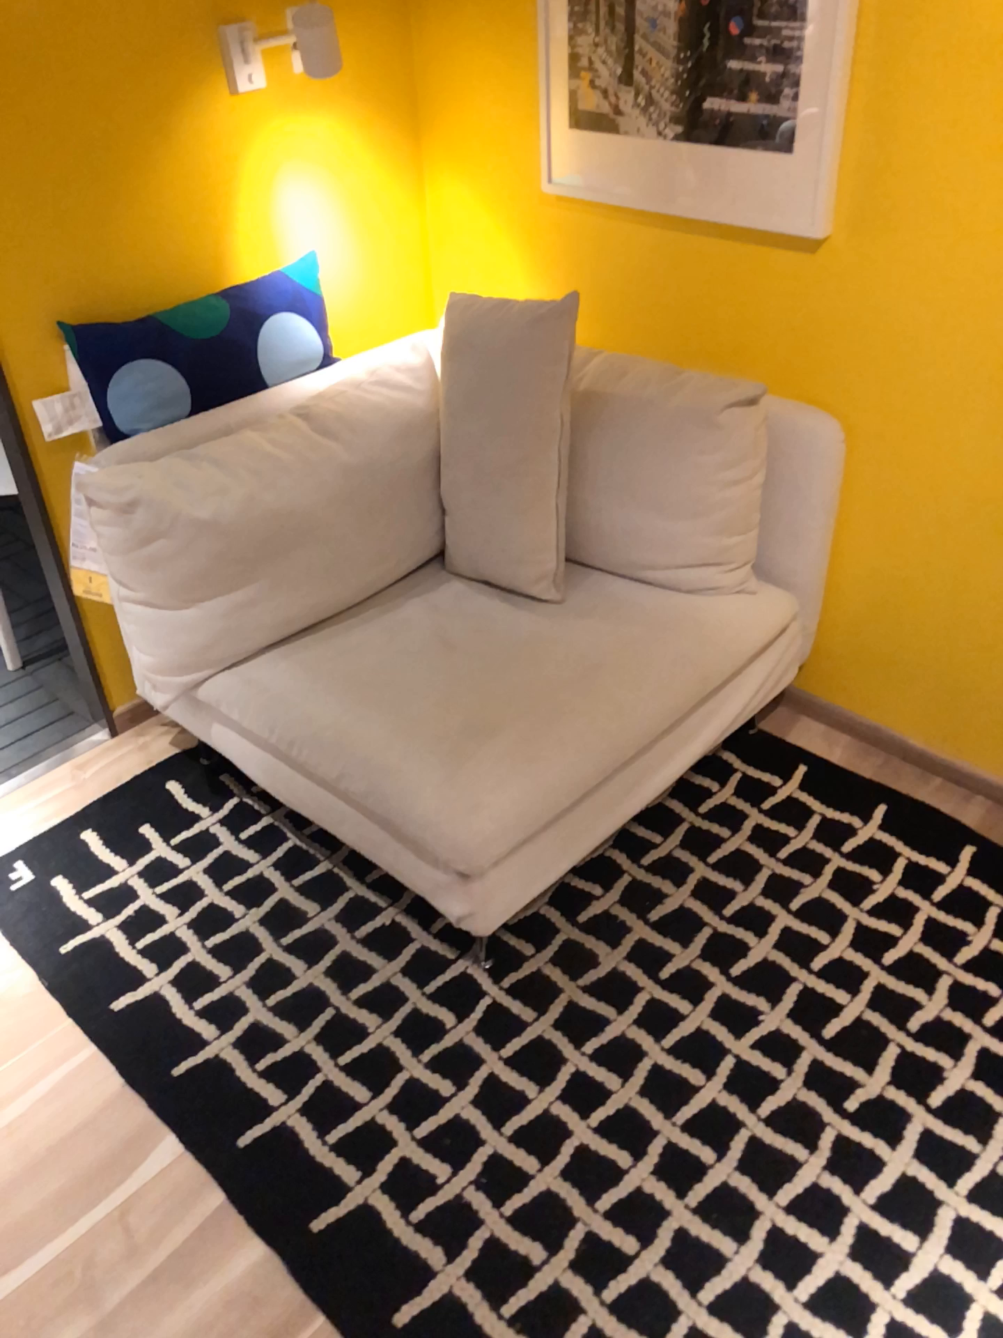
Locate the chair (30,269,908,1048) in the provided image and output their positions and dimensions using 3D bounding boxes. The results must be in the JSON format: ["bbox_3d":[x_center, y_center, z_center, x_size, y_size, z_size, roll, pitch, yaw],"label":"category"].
[{"bbox_3d":[-0.028,-0.164,2.079,1.014,0.755,1.114,27,45,36],"label":"chair"}]
